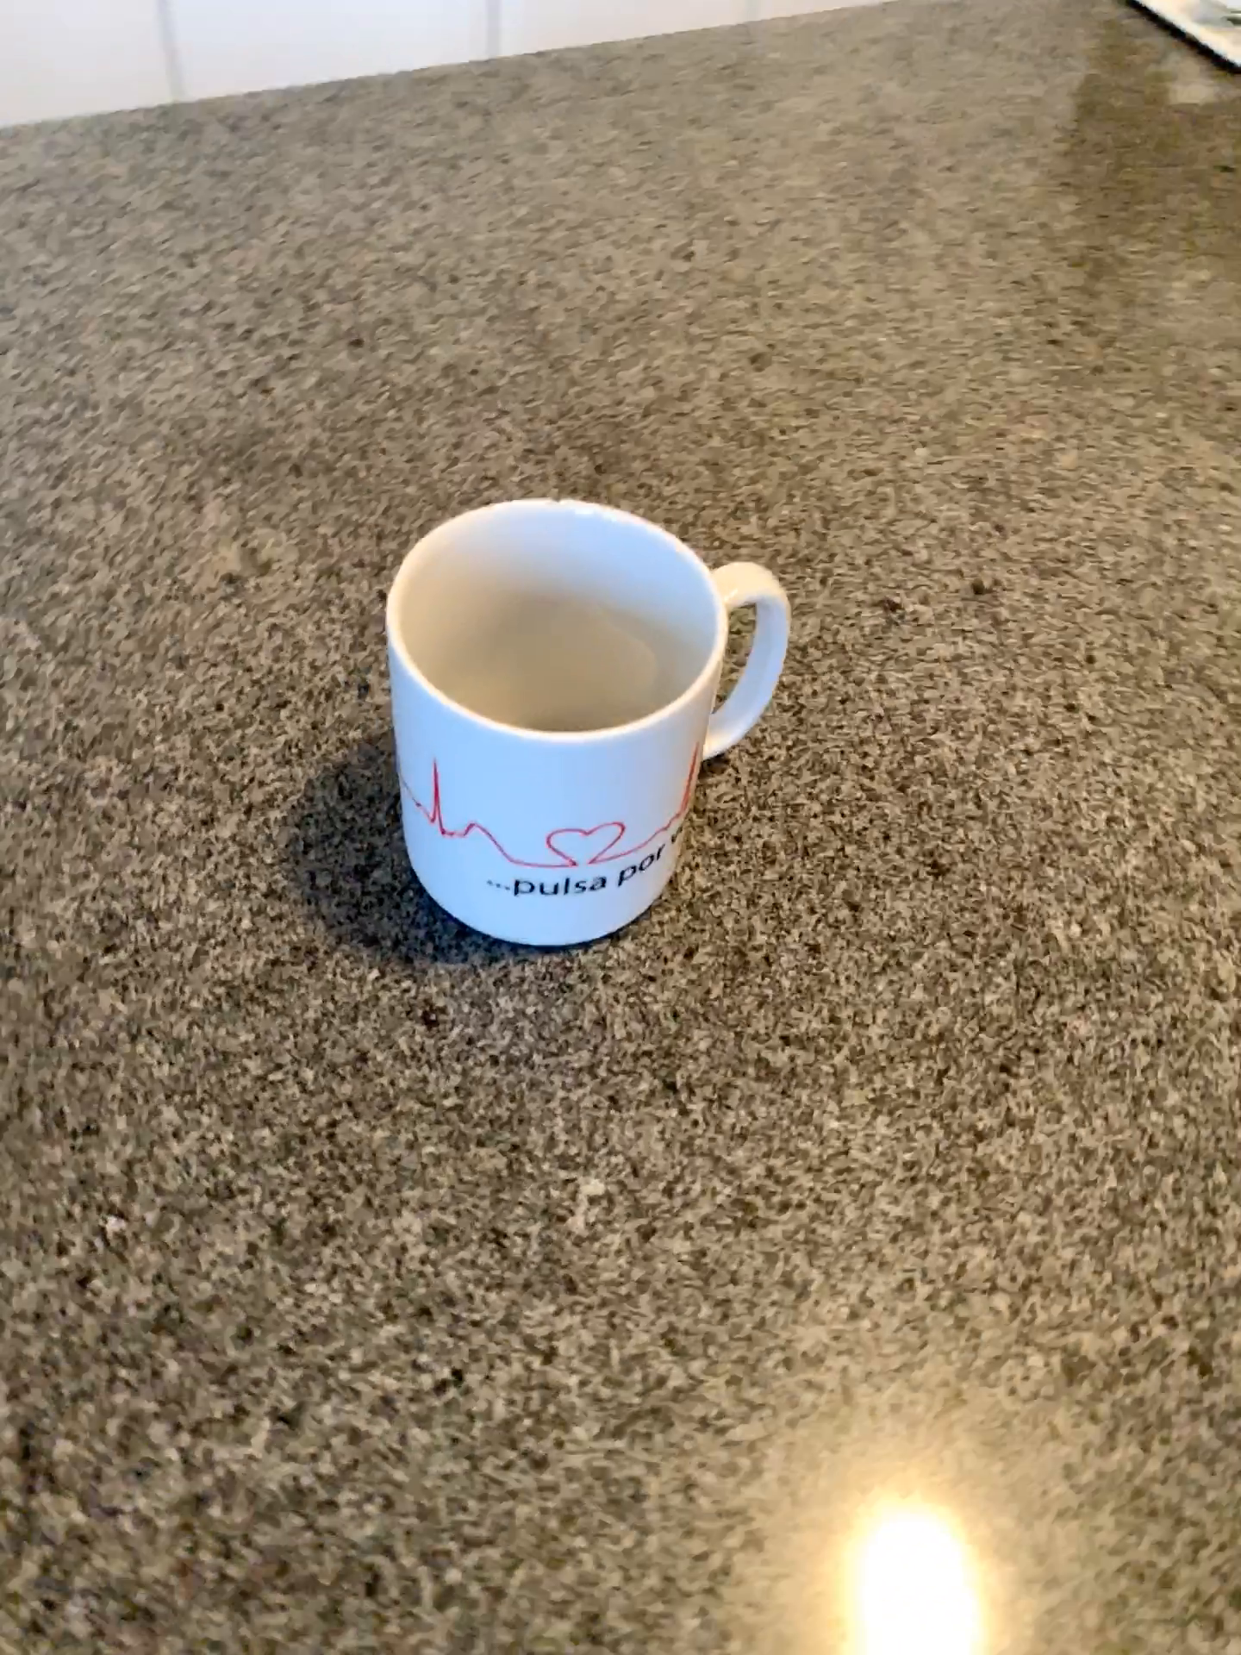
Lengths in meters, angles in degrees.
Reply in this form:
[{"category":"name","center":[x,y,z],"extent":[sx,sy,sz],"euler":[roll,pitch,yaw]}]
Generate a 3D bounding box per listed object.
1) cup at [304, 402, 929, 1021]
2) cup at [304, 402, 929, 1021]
[{"category":"cup","center":[-0.005,-0.033,0.341],"extent":[0.120,0.100,0.090],"euler":[-22,58,-22]},{"category":"cup","center":[-0.005,-0.033,0.341],"extent":[0.120,0.100,0.090],"euler":[-22,58,-22]}]
